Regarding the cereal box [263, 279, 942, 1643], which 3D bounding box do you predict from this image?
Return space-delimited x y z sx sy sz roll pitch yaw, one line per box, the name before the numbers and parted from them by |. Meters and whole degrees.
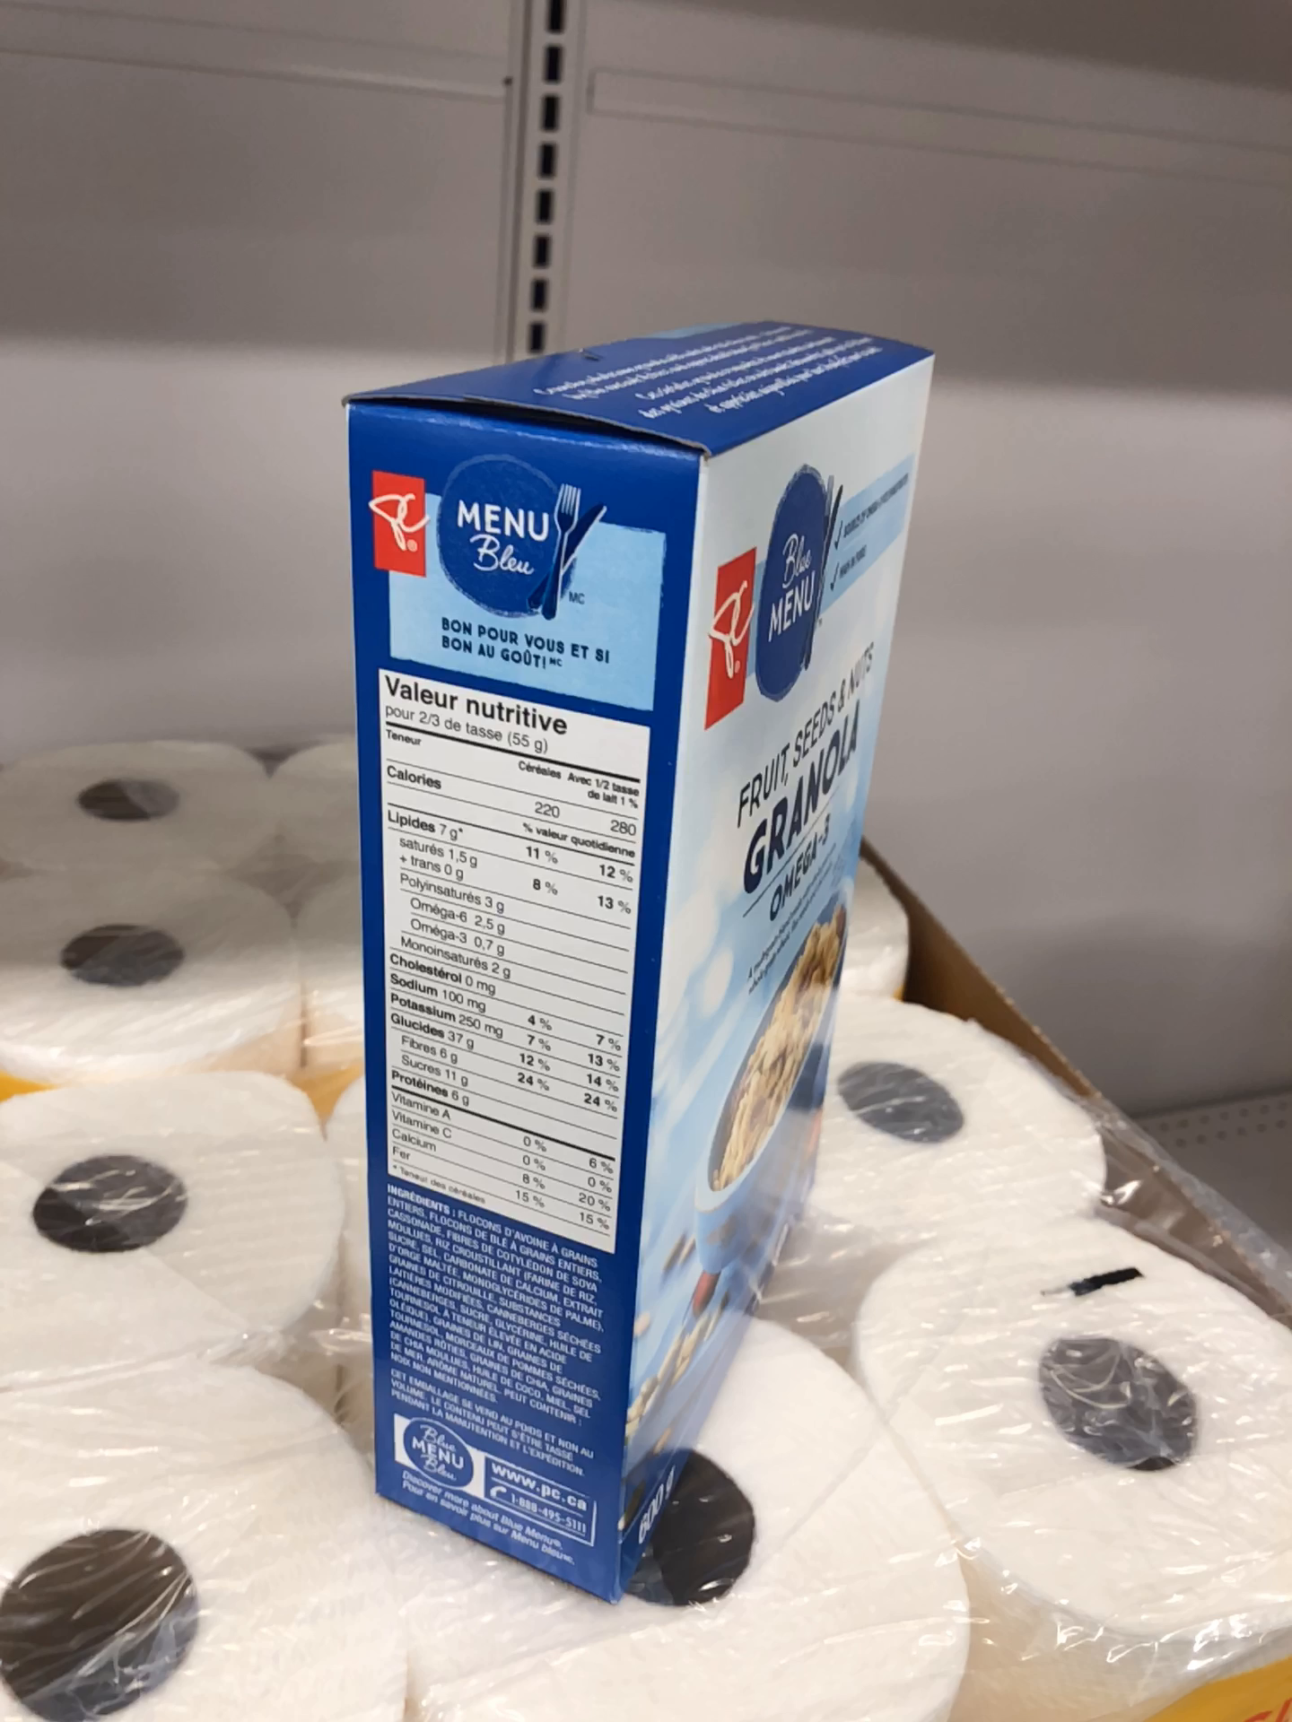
cereal box | -0.002 0.011 0.311 0.060 0.239 0.161 14 28 19
